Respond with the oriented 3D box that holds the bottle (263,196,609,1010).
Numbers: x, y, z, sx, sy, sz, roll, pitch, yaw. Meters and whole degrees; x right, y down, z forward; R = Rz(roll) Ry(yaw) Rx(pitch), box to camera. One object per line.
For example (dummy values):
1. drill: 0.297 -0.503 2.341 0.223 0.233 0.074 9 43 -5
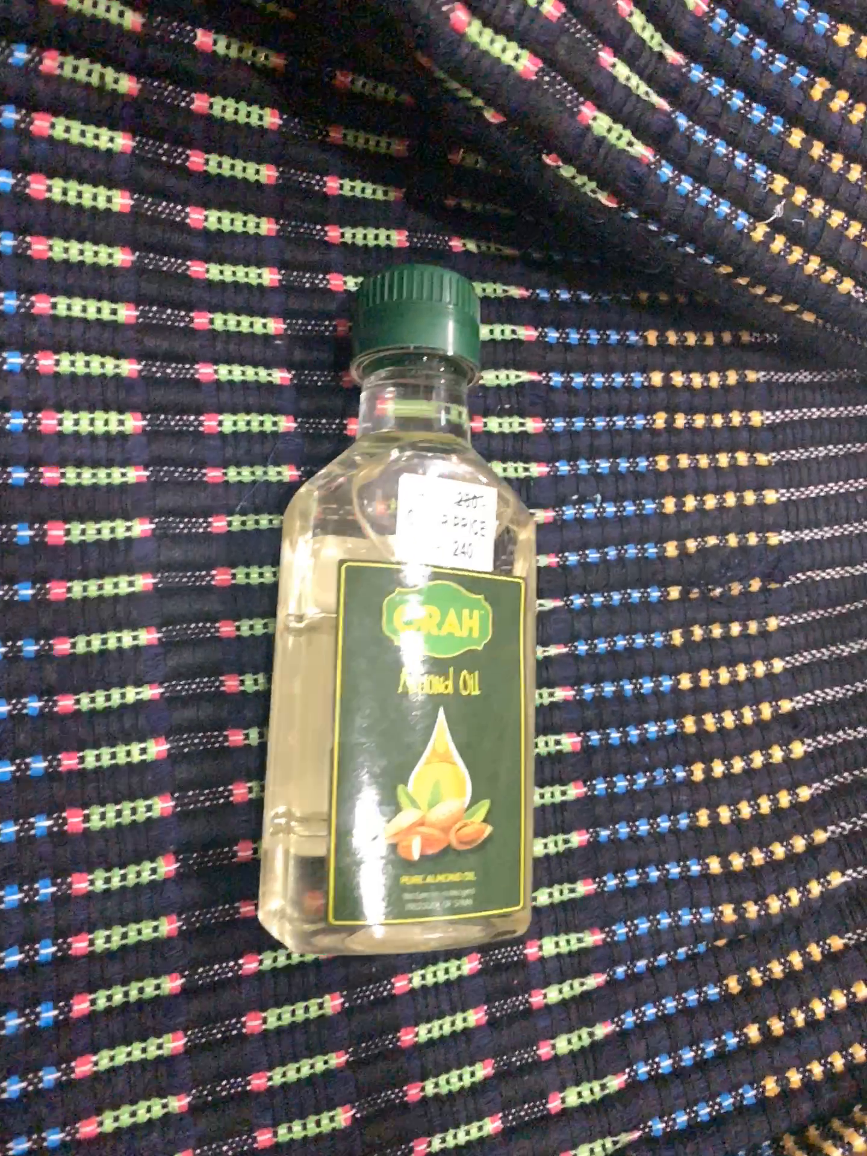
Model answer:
1. bottle: 0.001 0.003 0.190 0.060 0.030 0.150 5 78 -24
